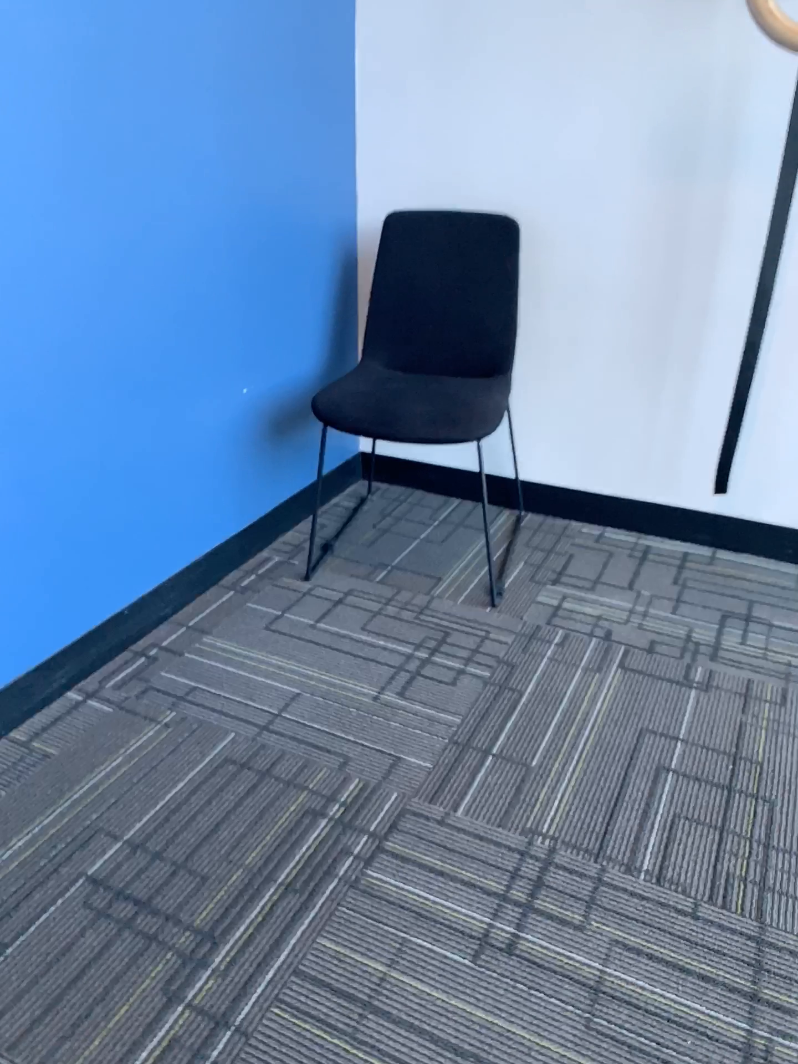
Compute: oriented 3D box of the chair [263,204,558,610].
[{"bbox_3d":[0.054,-0.328,1.915,0.501,0.756,0.583,7,26,13],"label":"chair"}]
